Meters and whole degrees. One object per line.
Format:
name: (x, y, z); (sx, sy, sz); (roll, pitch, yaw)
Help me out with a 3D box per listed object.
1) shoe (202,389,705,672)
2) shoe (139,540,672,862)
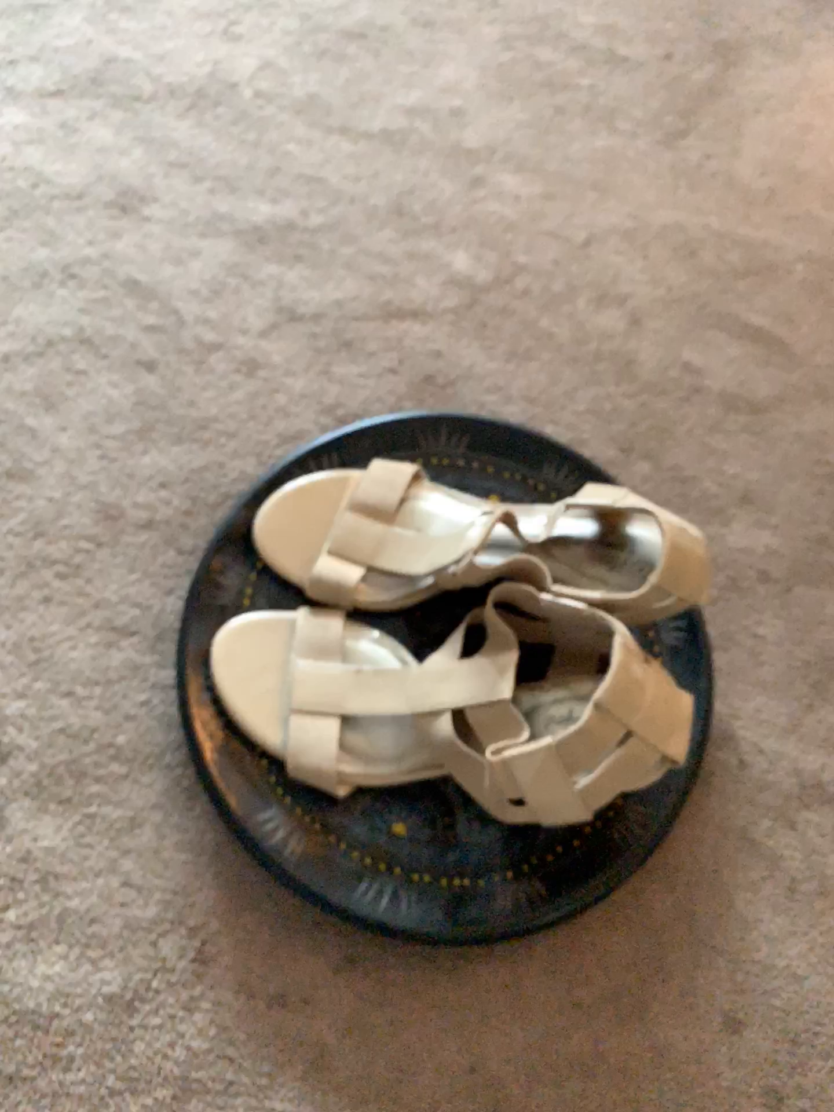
shoe: (0.022, -0.013, 0.462); (0.230, 0.090, 0.100); (7, 75, 12)
shoe: (-0.001, 0.070, 0.423); (0.220, 0.090, 0.090); (10, 67, 13)
